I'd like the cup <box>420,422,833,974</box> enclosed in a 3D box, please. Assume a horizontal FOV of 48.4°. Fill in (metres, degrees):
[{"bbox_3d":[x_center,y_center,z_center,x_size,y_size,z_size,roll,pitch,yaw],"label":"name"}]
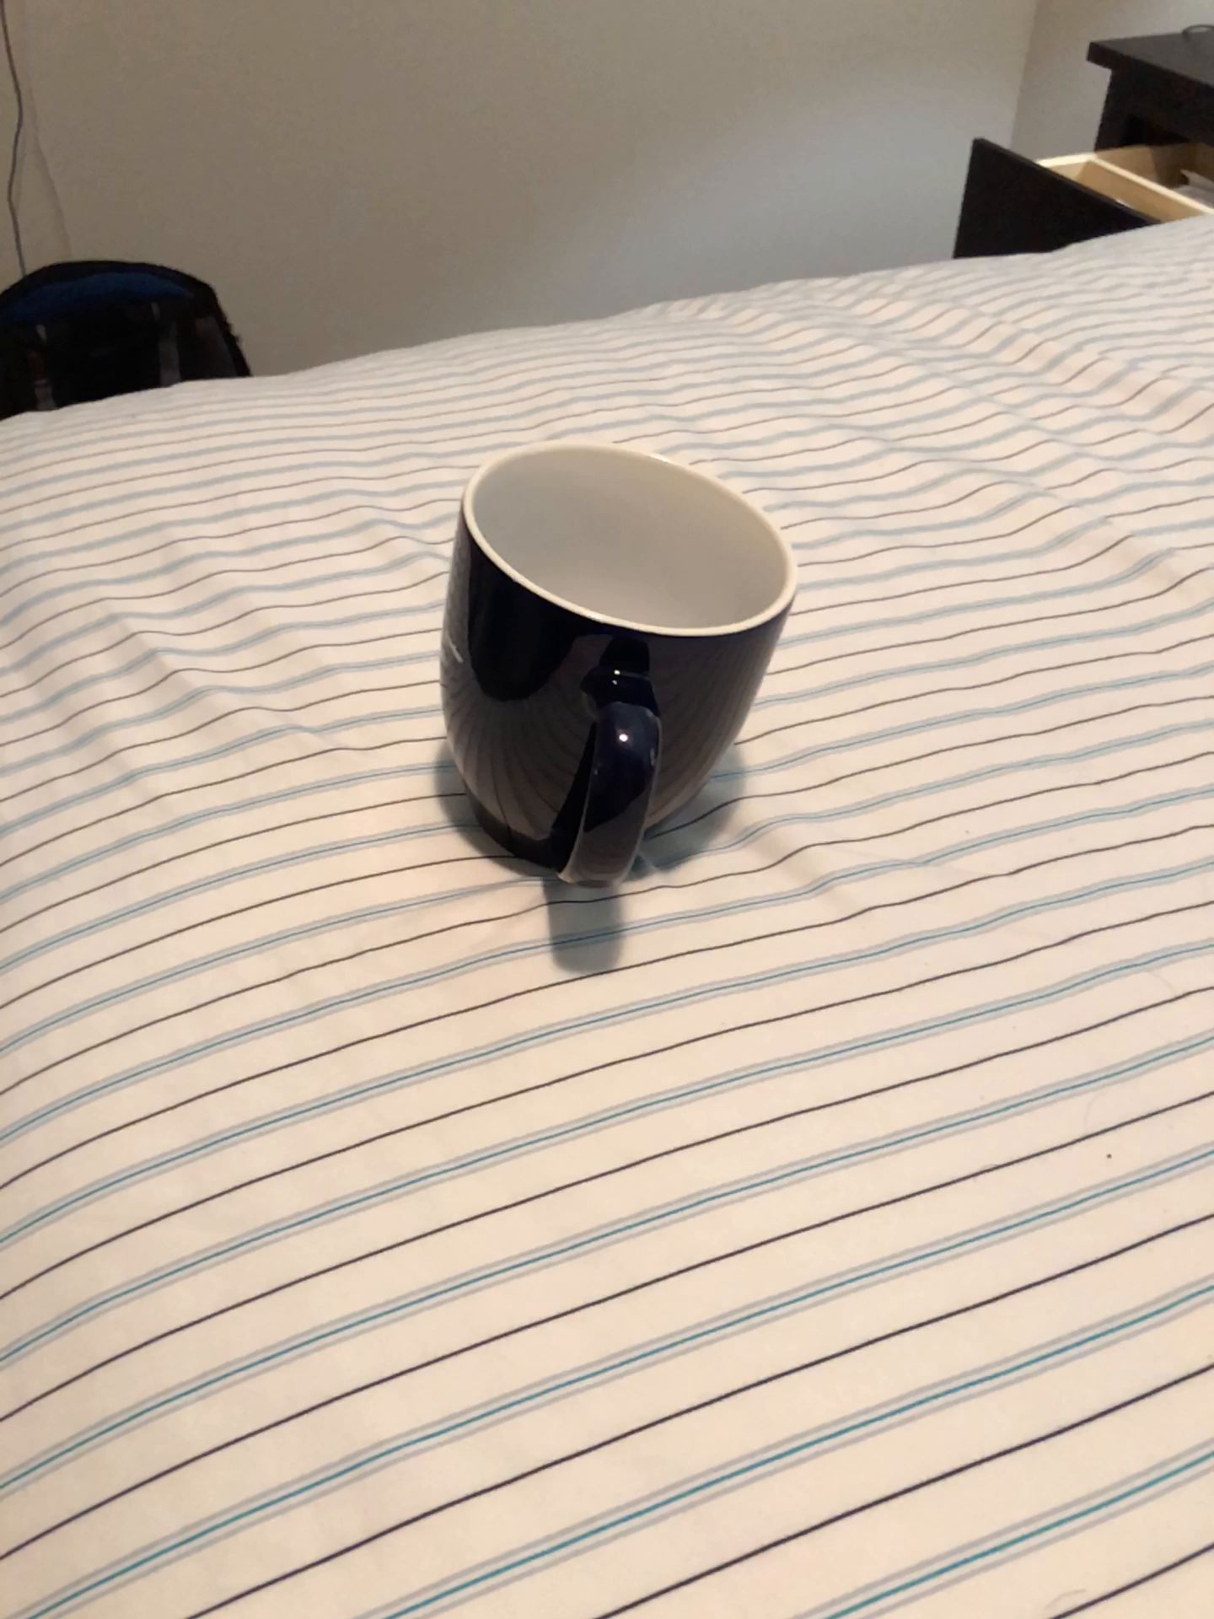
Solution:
[{"bbox_3d":[-0.002,-0.035,0.389,0.090,0.090,0.131,5,41,-8],"label":"cup"}]
